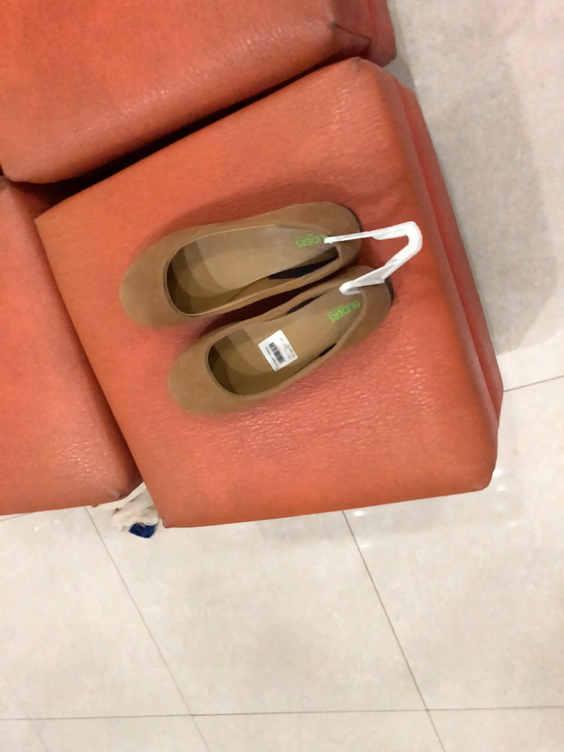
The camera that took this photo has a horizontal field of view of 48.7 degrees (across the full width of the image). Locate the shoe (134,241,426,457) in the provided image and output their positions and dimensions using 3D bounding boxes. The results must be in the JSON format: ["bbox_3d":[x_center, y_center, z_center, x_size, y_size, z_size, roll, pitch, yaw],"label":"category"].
[{"bbox_3d":[-0.010,-0.020,0.637,0.287,0.070,0.094,-27,99,29],"label":"shoe"}]

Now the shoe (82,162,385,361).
[{"bbox_3d":[-0.055,-0.107,0.622,0.287,0.070,0.097,-16,102,27],"label":"shoe"}]
